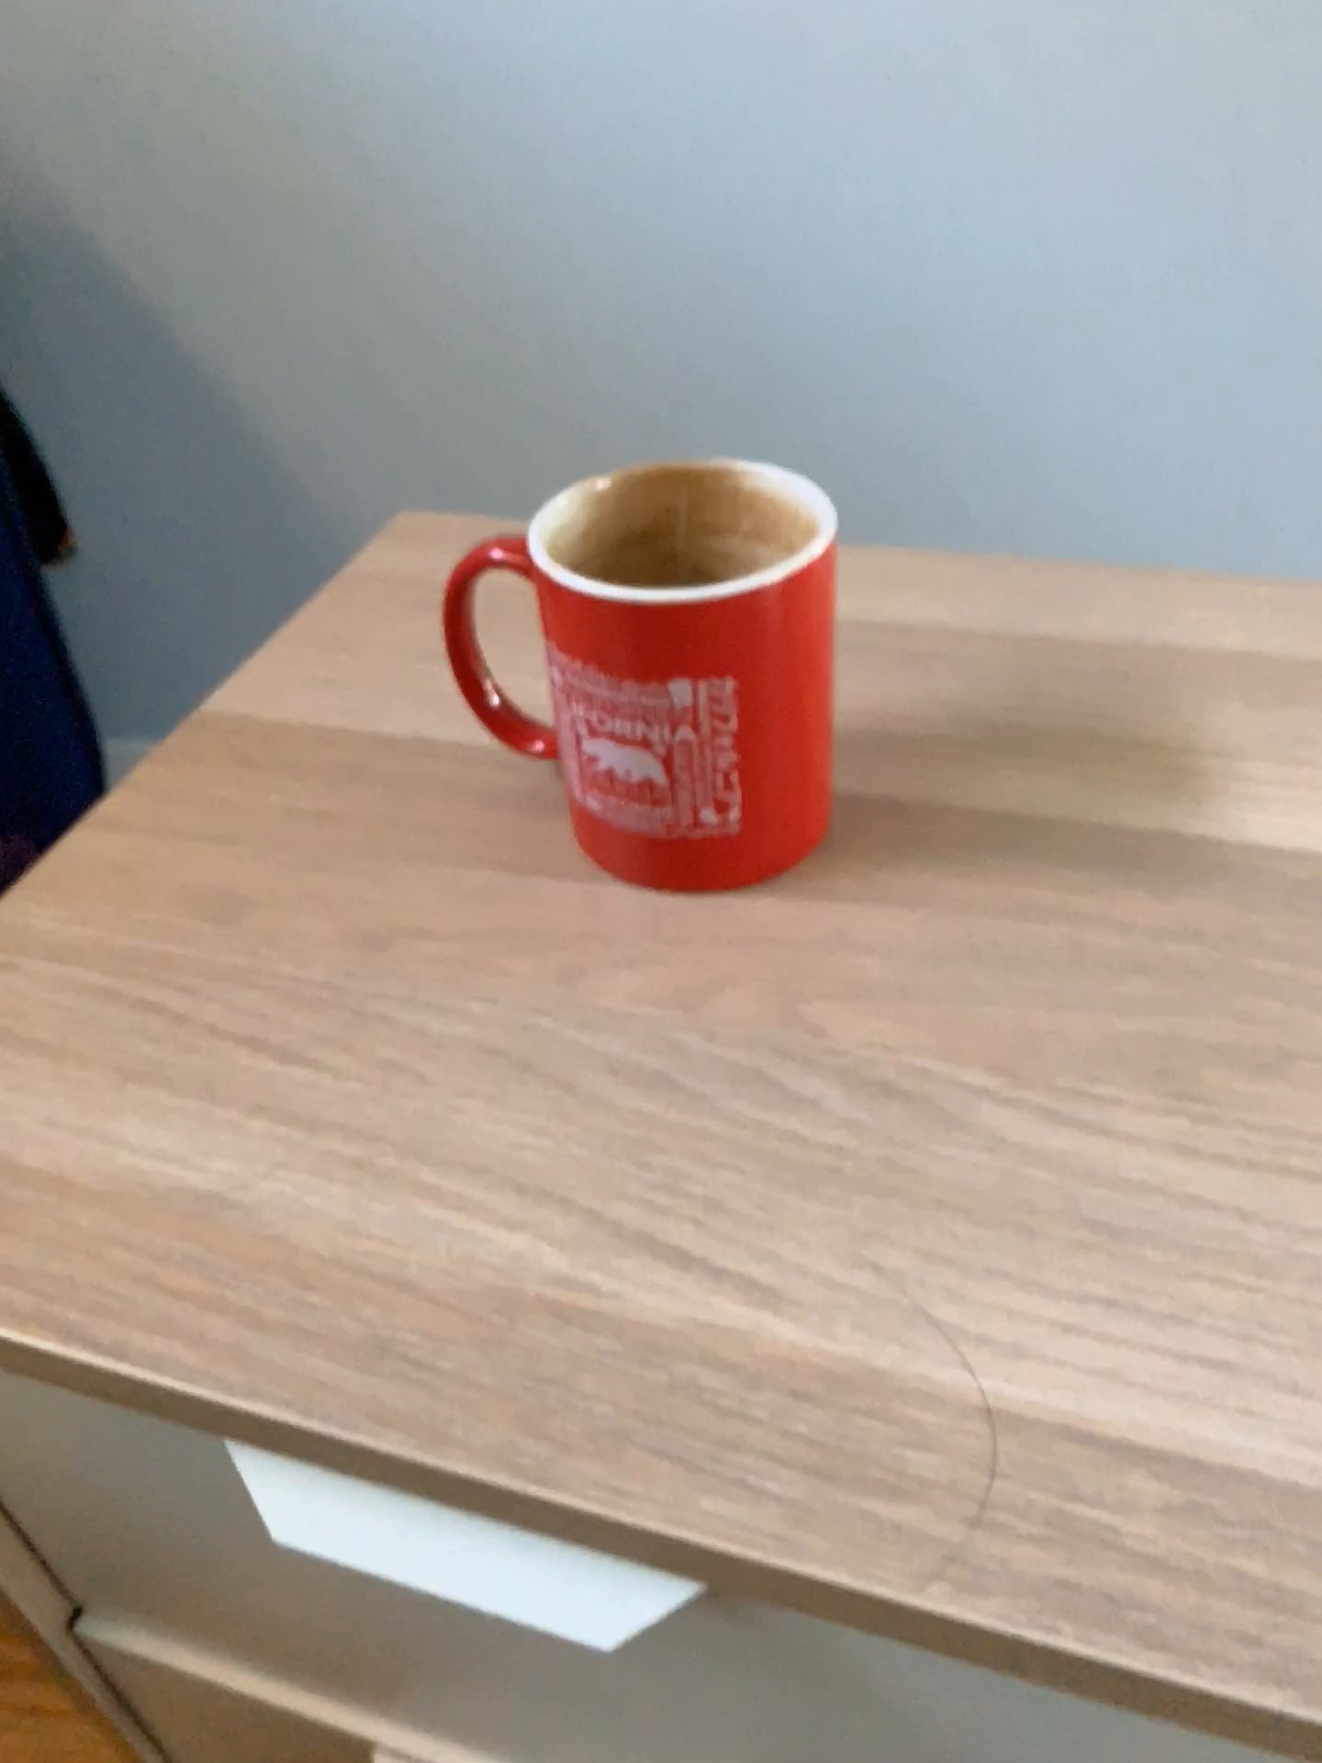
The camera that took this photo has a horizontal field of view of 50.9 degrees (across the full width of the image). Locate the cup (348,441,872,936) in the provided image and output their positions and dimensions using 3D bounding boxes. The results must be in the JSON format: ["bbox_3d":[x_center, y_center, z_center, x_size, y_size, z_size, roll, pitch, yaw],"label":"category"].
[{"bbox_3d":[-0.010,-0.058,0.398,0.120,0.100,0.070,14,43,22],"label":"cup"}]
